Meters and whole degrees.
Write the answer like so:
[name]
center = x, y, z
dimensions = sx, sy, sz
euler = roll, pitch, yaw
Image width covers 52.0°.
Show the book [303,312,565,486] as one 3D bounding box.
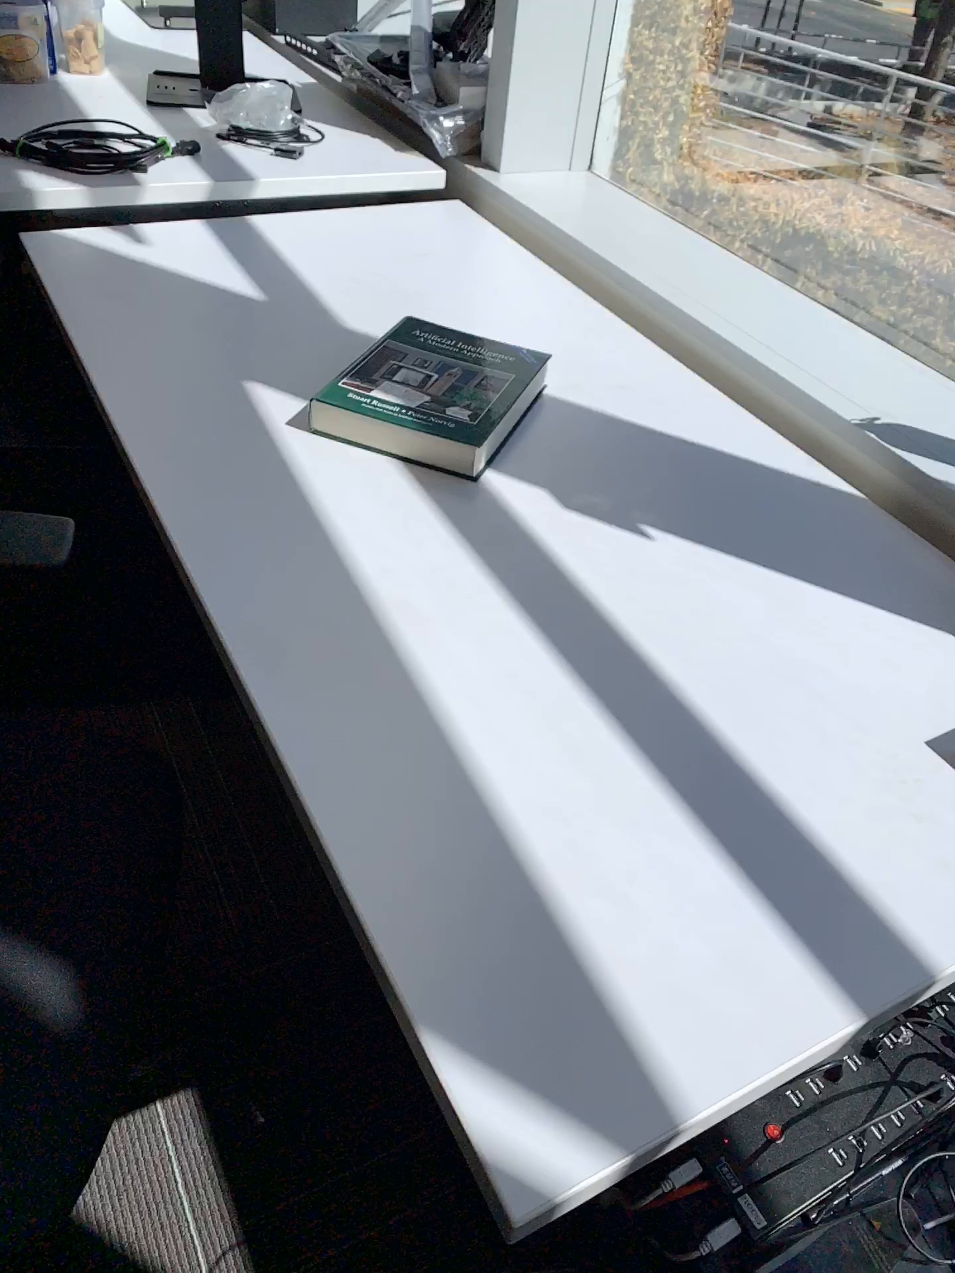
[book]
center = -0.045, -0.298, 1.187
dimensions = 0.230, 0.050, 0.261
euler = 19, 42, 12
